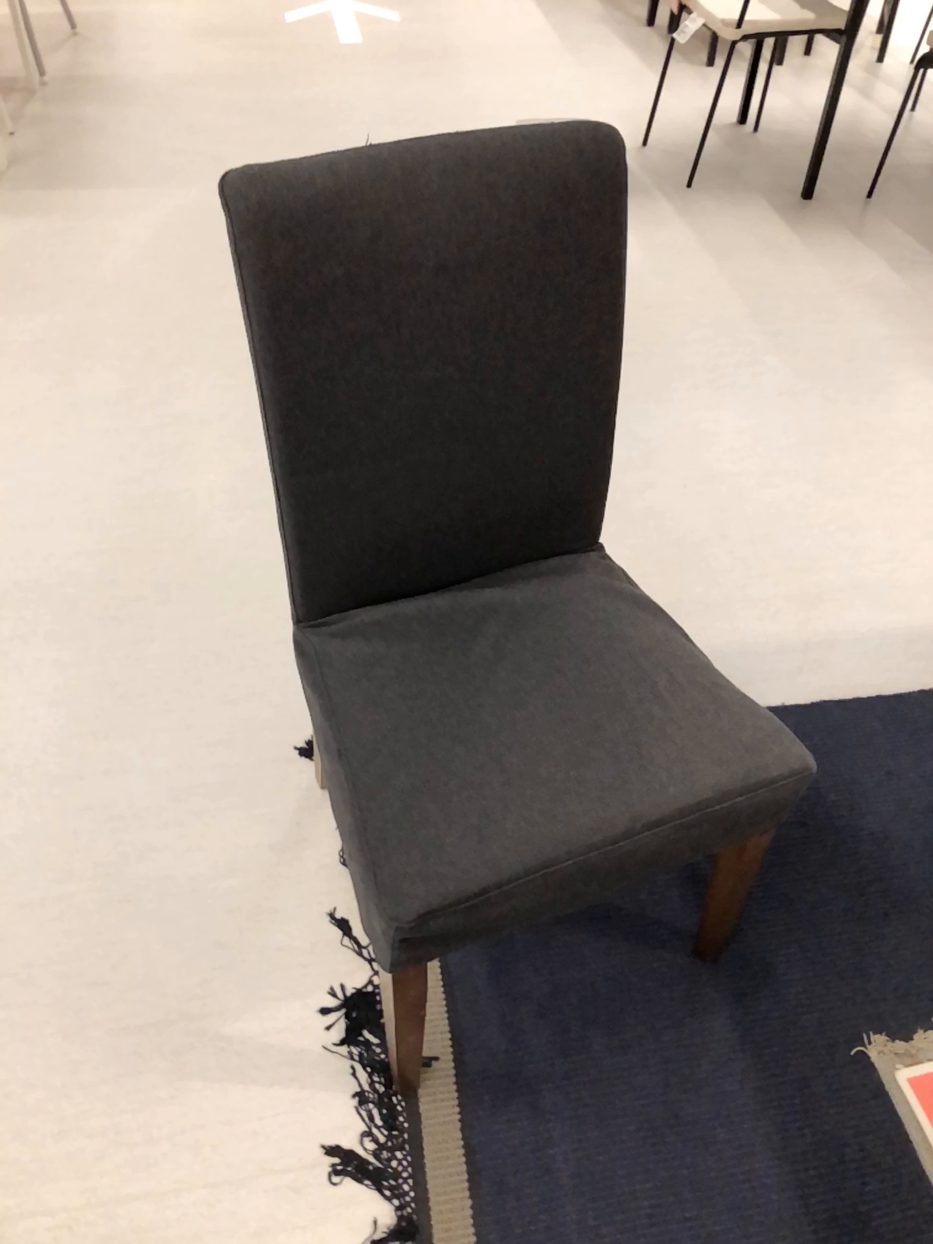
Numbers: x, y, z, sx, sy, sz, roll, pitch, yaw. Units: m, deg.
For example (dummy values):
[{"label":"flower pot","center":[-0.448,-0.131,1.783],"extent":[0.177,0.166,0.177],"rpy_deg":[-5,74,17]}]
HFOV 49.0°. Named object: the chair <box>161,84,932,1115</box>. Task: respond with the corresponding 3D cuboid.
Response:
[{"label":"chair","center":[0.061,0.019,1.176],"extent":[0.541,0.964,0.553],"rpy_deg":[-15,48,-17]}]
